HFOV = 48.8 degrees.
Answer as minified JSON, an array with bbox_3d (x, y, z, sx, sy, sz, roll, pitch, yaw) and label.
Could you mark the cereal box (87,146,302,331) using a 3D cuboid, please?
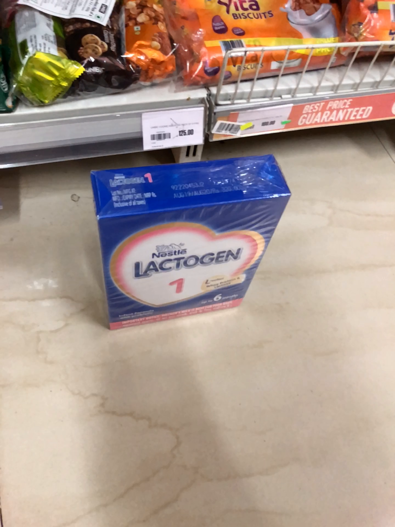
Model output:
[{"bbox_3d":[-0.013,-0.012,0.396,0.150,0.189,0.050,-9,61,-14],"label":"cereal box"}]
